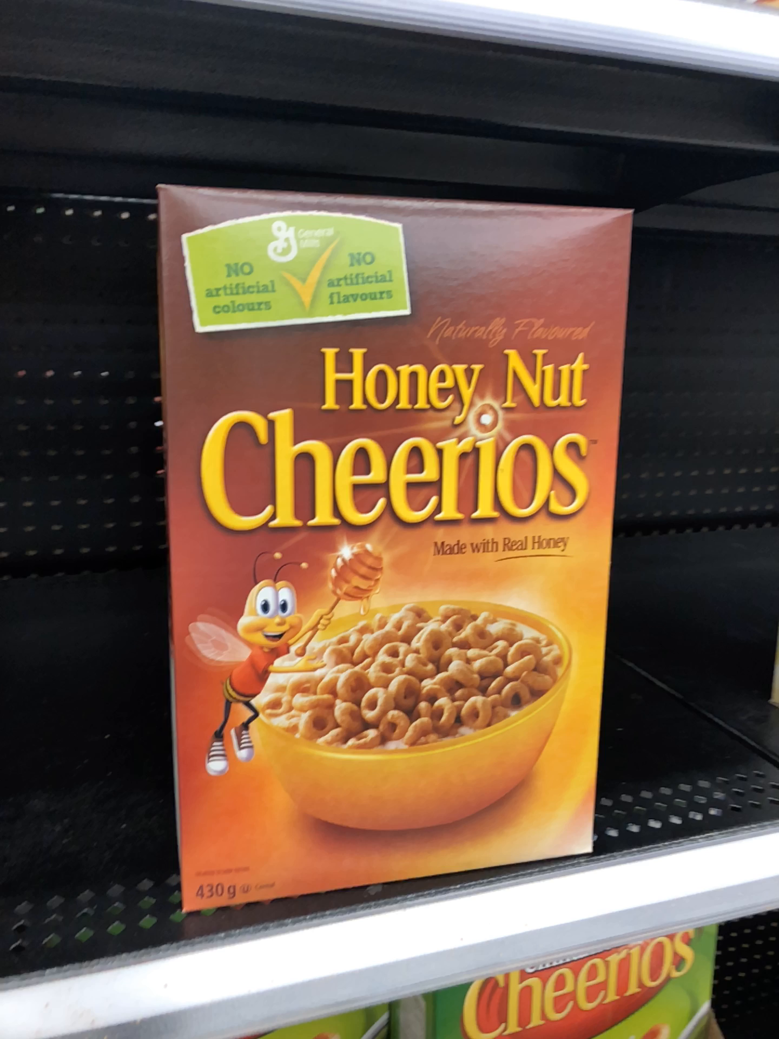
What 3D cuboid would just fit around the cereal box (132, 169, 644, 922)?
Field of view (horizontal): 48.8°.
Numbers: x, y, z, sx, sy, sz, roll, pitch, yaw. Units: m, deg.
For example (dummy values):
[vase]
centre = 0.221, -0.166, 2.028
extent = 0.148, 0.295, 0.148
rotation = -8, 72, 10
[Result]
[cereal box]
centre = -0.005, 0.012, 0.389
extent = 0.200, 0.299, 0.070
rotation = -2, 13, -14
